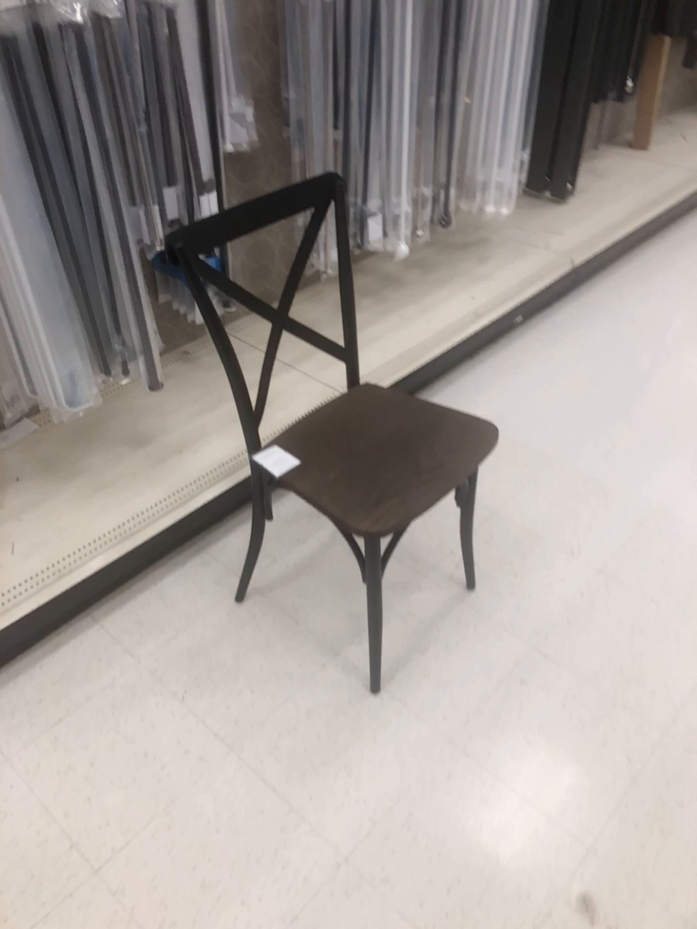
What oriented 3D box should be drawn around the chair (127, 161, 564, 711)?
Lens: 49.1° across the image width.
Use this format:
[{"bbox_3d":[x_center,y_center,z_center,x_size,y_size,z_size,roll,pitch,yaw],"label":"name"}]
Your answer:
[{"bbox_3d":[-0.002,-0.064,1.491,0.526,0.811,0.477,28,47,31],"label":"chair"}]
